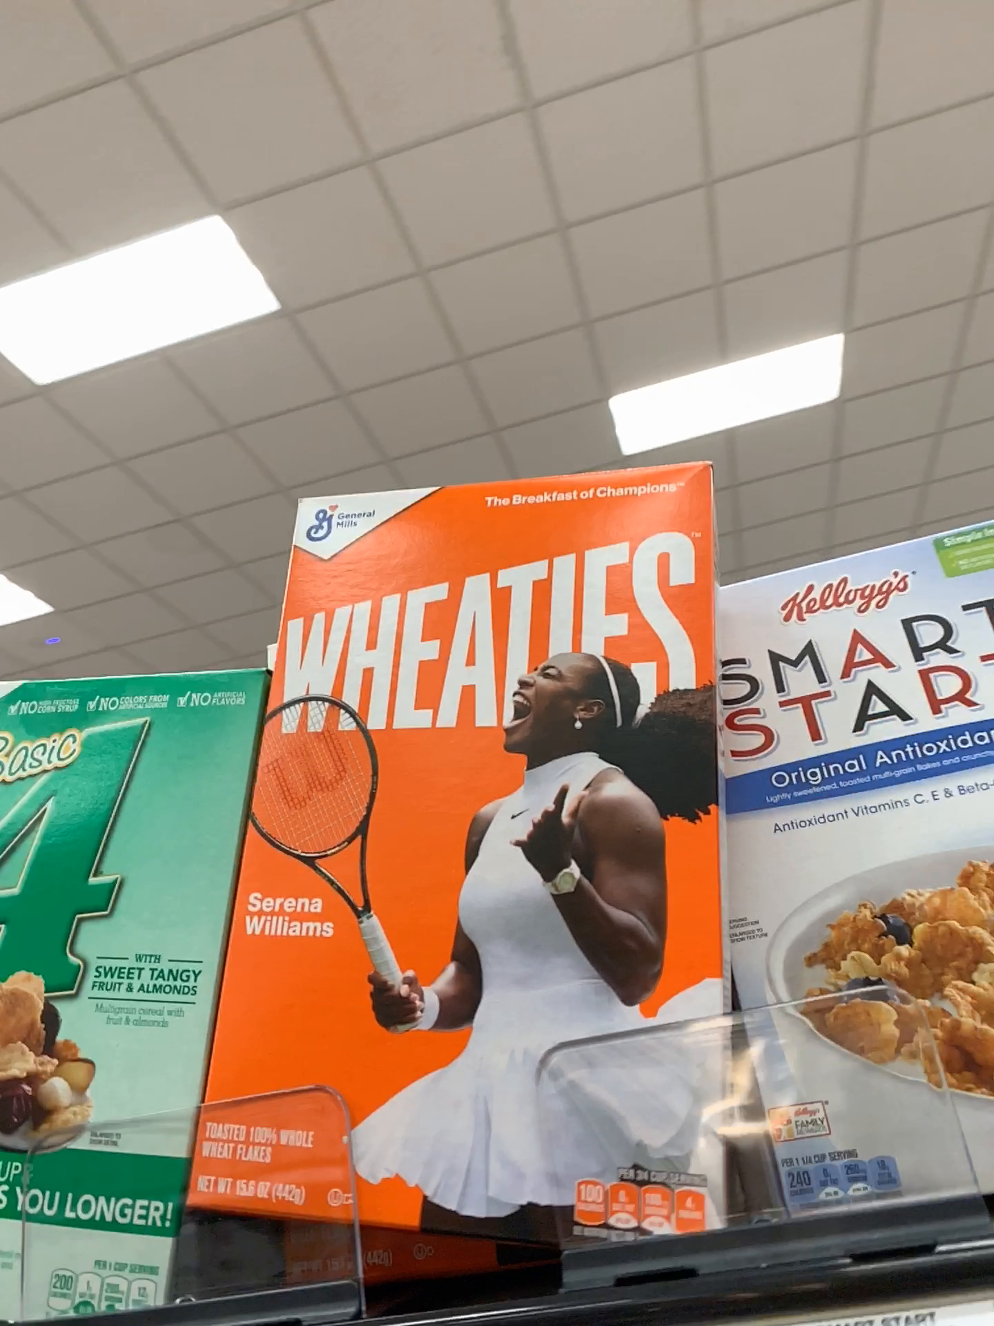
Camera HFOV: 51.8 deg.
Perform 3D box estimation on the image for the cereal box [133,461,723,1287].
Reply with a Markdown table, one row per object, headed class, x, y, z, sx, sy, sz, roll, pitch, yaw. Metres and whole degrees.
| class | x | y | z | sx | sy | sz | roll | pitch | yaw |
| --- | --- | --- | --- | --- | --- | --- | --- | --- | --- |
| cereal box | -0.015 | 0.070 | 0.420 | 0.200 | 0.291 | 0.070 | -3 | -22 | 16 |
